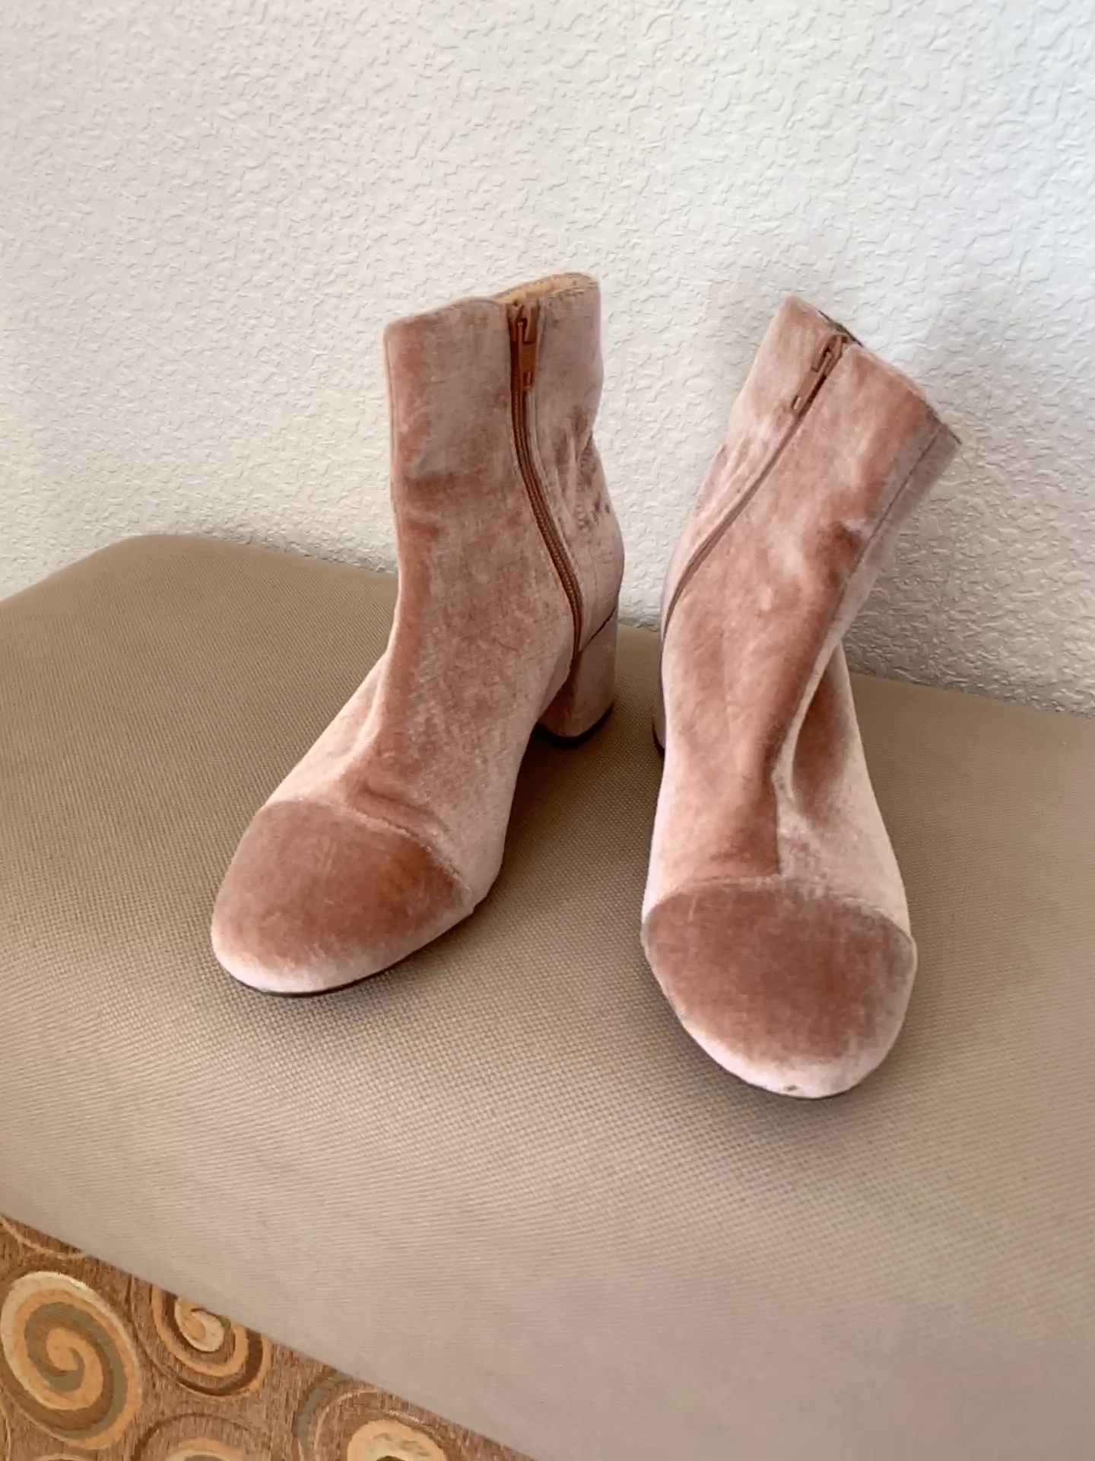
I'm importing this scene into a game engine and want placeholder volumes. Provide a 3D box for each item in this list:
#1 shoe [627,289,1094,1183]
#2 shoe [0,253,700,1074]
[{"bbox_3d":[0.084,-0.027,0.371,0.100,0.169,0.272,4,33,3],"label":"shoe"},{"bbox_3d":[-0.041,-0.044,0.371,0.100,0.169,0.231,15,35,19],"label":"shoe"}]
